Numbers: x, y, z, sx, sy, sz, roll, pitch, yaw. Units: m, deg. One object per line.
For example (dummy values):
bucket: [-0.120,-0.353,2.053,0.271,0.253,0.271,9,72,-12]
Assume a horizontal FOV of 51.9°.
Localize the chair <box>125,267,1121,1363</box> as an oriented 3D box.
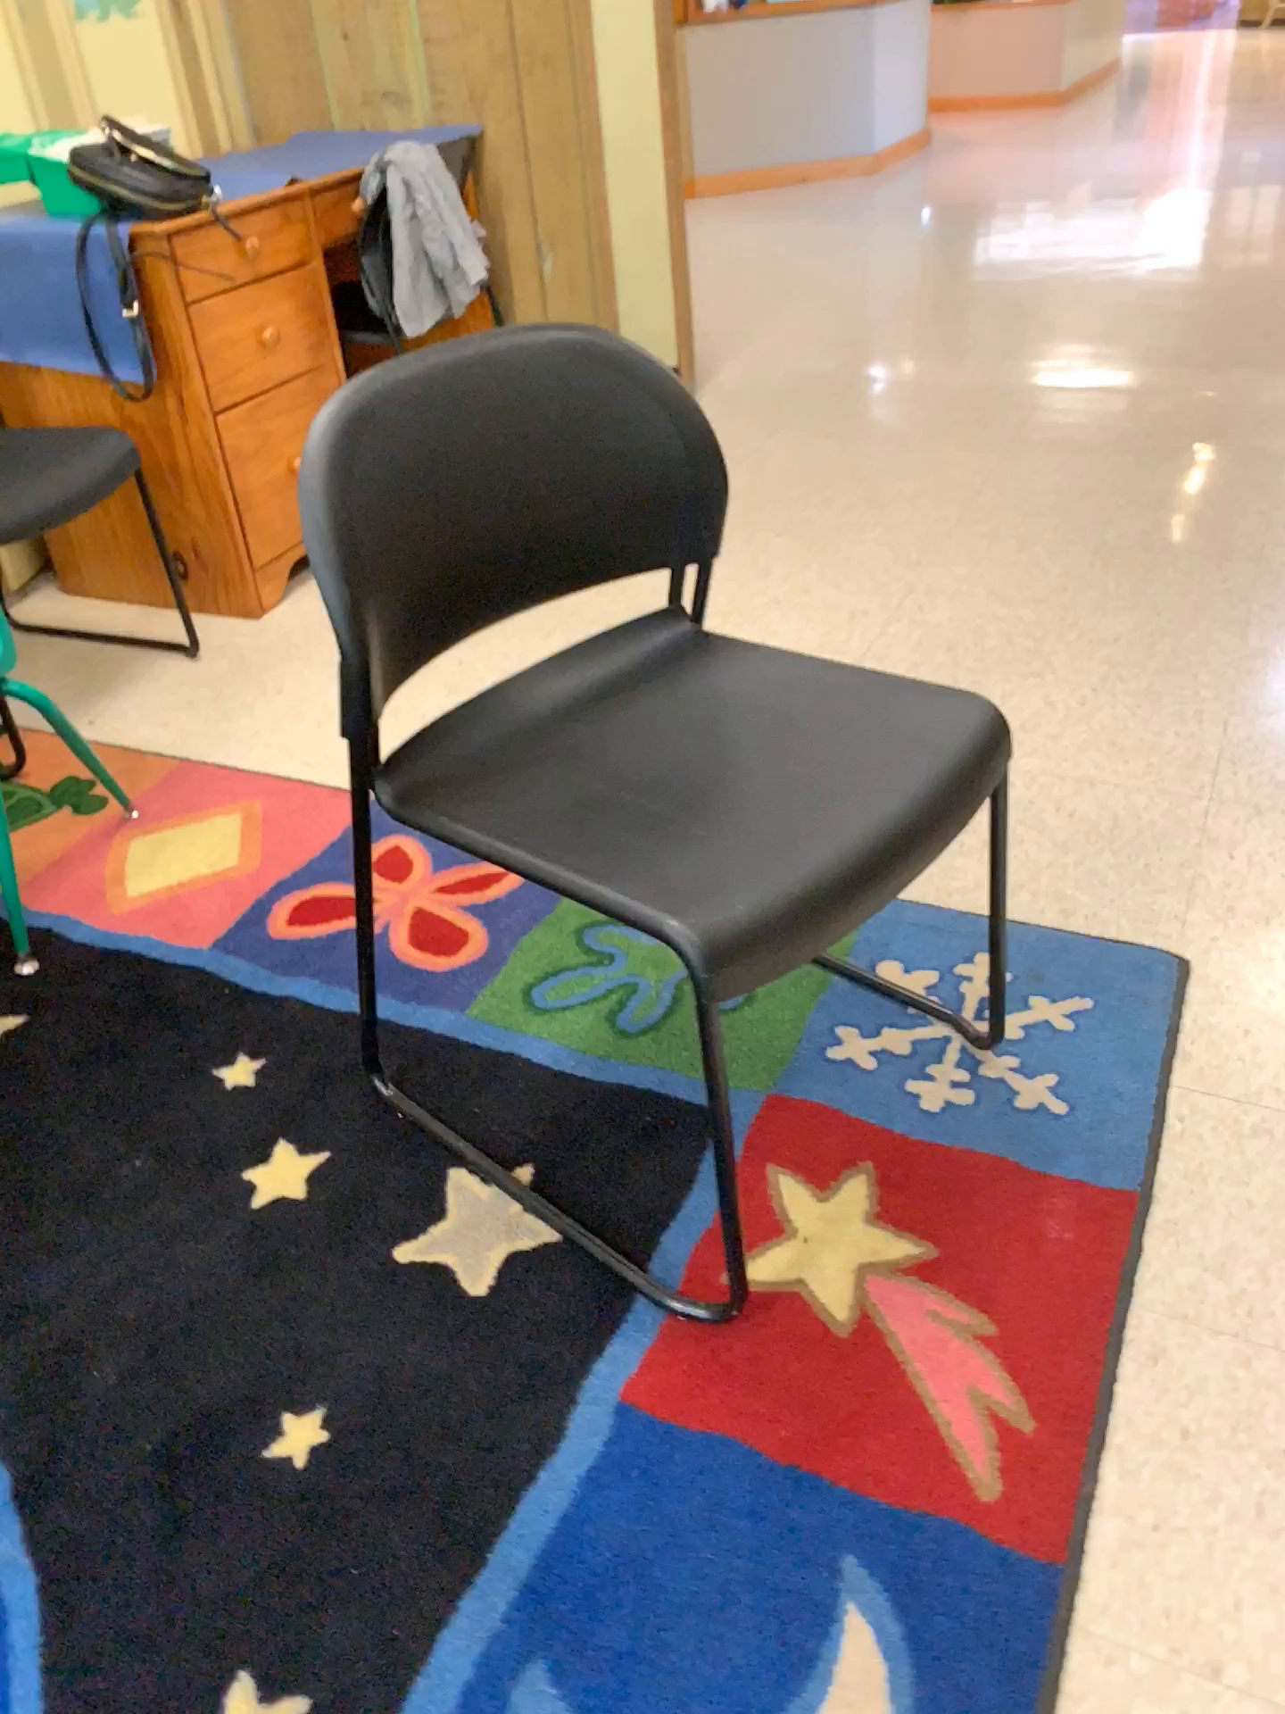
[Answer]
chair: [0.009,-0.101,1.334,0.613,0.775,0.591,24,44,37]
